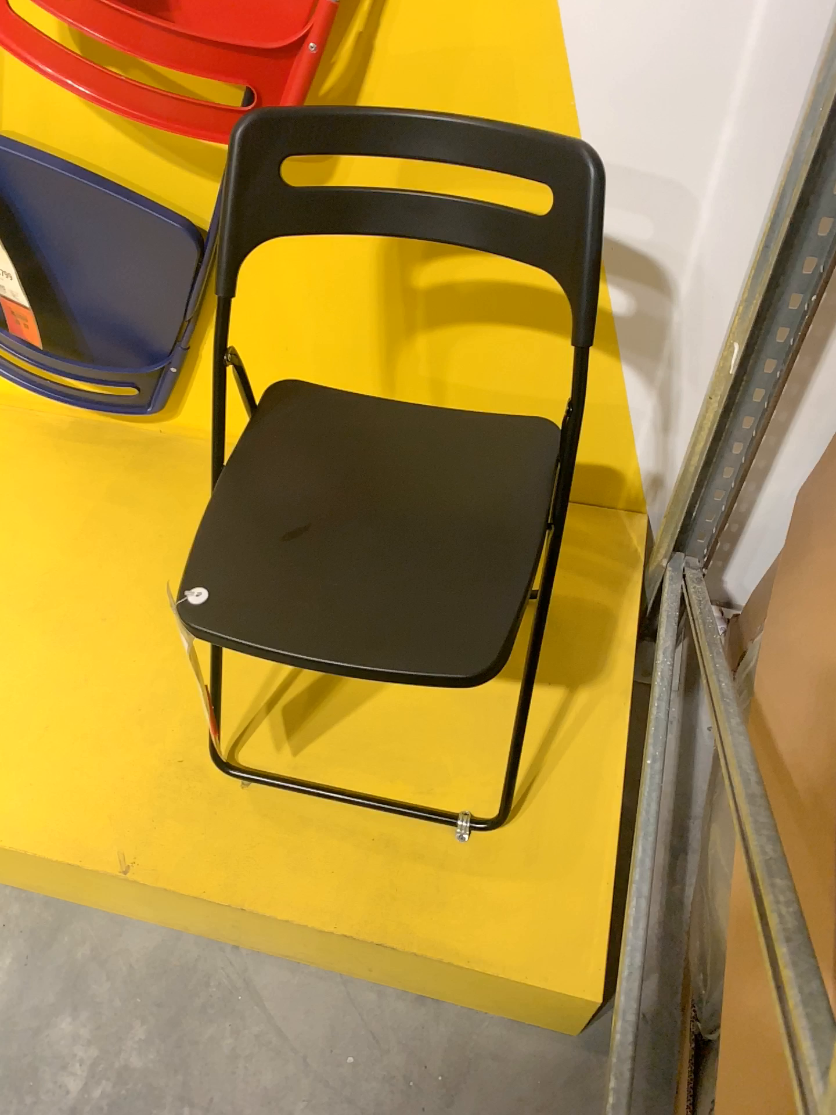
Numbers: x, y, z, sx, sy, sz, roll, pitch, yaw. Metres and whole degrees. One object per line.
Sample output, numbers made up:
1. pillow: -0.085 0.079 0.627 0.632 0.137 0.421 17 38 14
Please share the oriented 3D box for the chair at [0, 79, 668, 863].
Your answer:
1. chair: -0.034 -0.052 0.952 0.440 0.698 0.441 10 51 8
